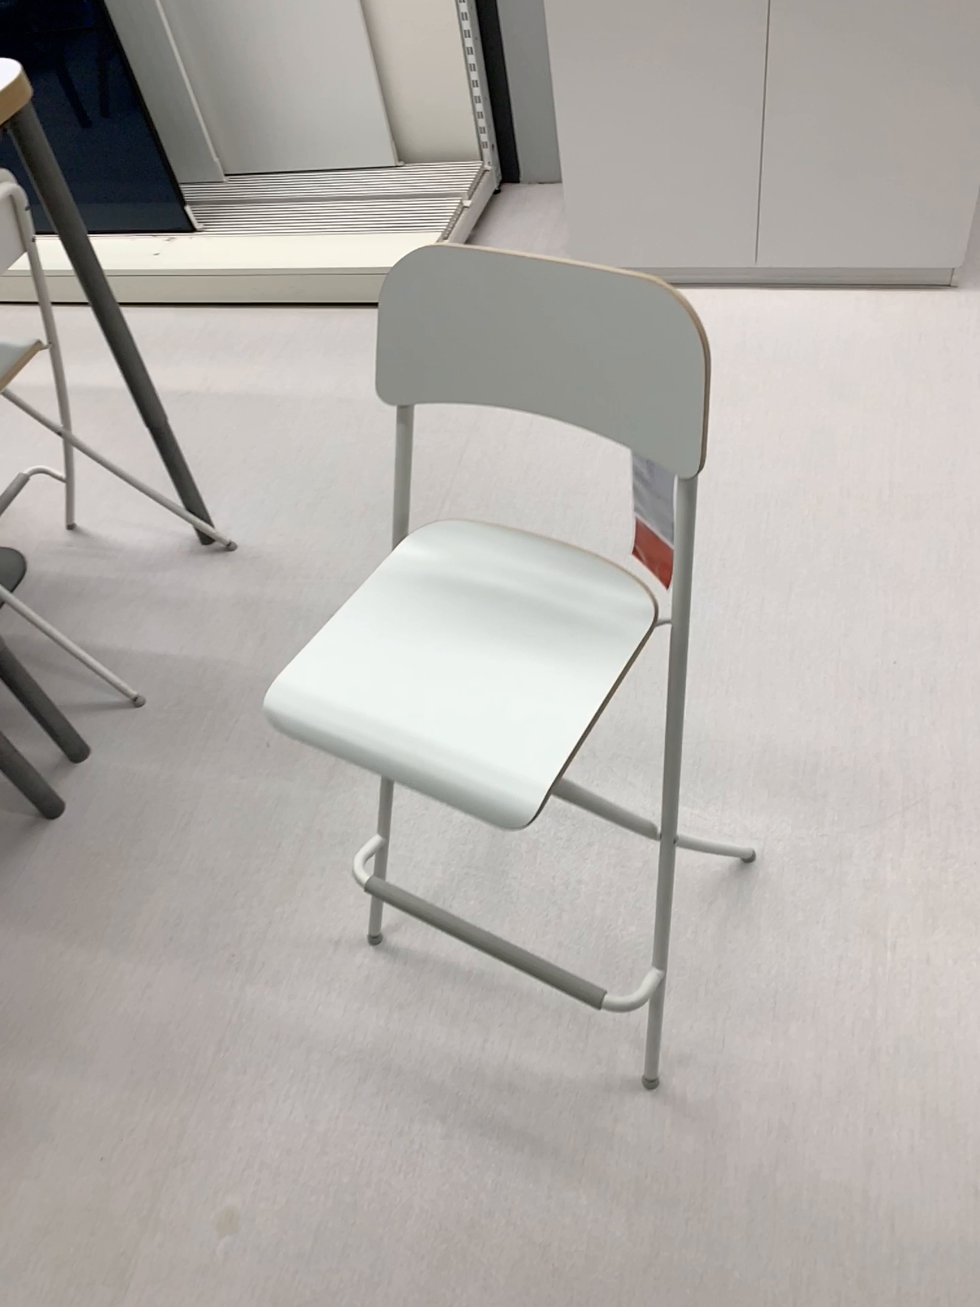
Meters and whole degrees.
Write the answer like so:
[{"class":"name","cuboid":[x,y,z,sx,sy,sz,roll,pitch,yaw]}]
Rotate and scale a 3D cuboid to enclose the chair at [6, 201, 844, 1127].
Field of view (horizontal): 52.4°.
[{"class":"chair","cuboid":[0.024,0.072,1.183,0.521,0.936,0.501,19,58,25]}]
